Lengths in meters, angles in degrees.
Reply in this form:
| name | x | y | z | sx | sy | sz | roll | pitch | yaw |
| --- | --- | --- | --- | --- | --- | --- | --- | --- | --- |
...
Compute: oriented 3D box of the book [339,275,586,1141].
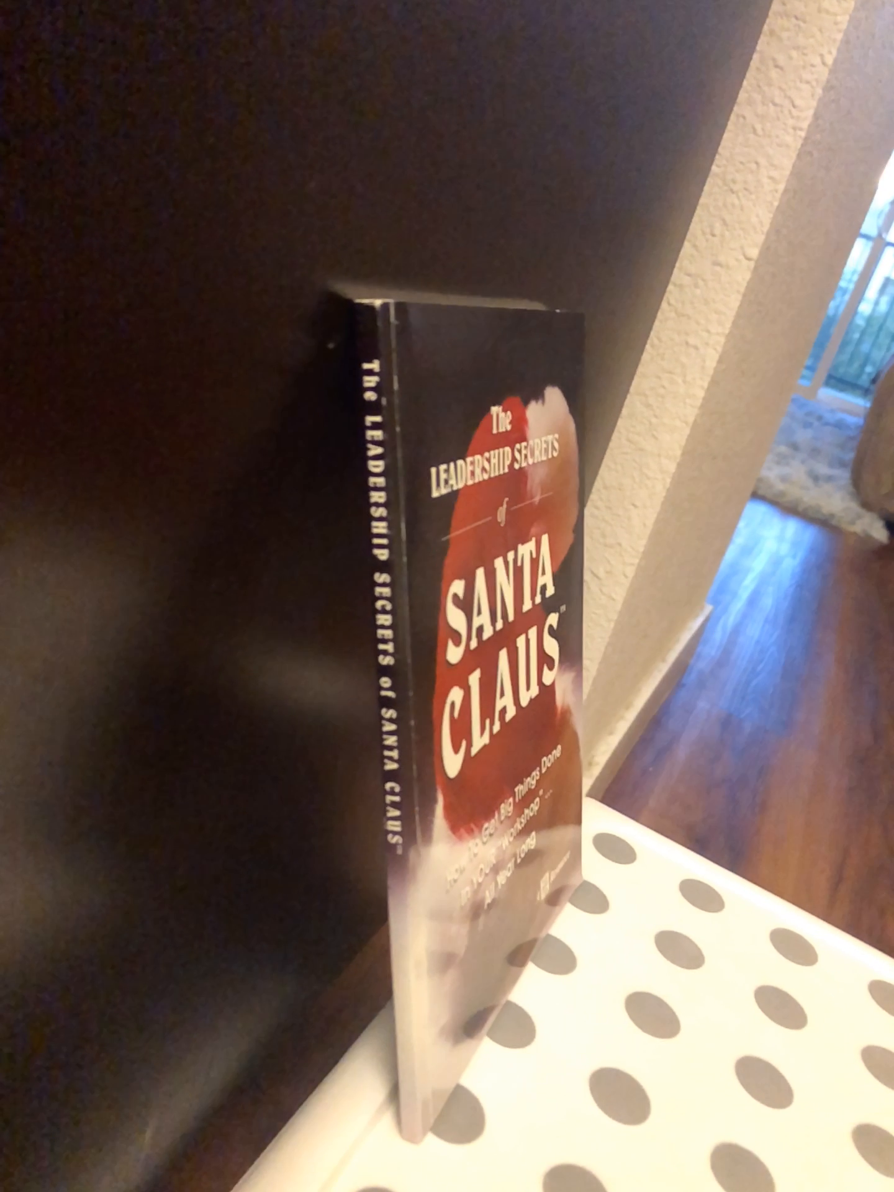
| name | x | y | z | sx | sy | sz | roll | pitch | yaw |
| --- | --- | --- | --- | --- | --- | --- | --- | --- | --- |
| book | 0.017 | 0.020 | 0.317 | 0.010 | 0.225 | 0.161 | 3 | 15 | 23 |
